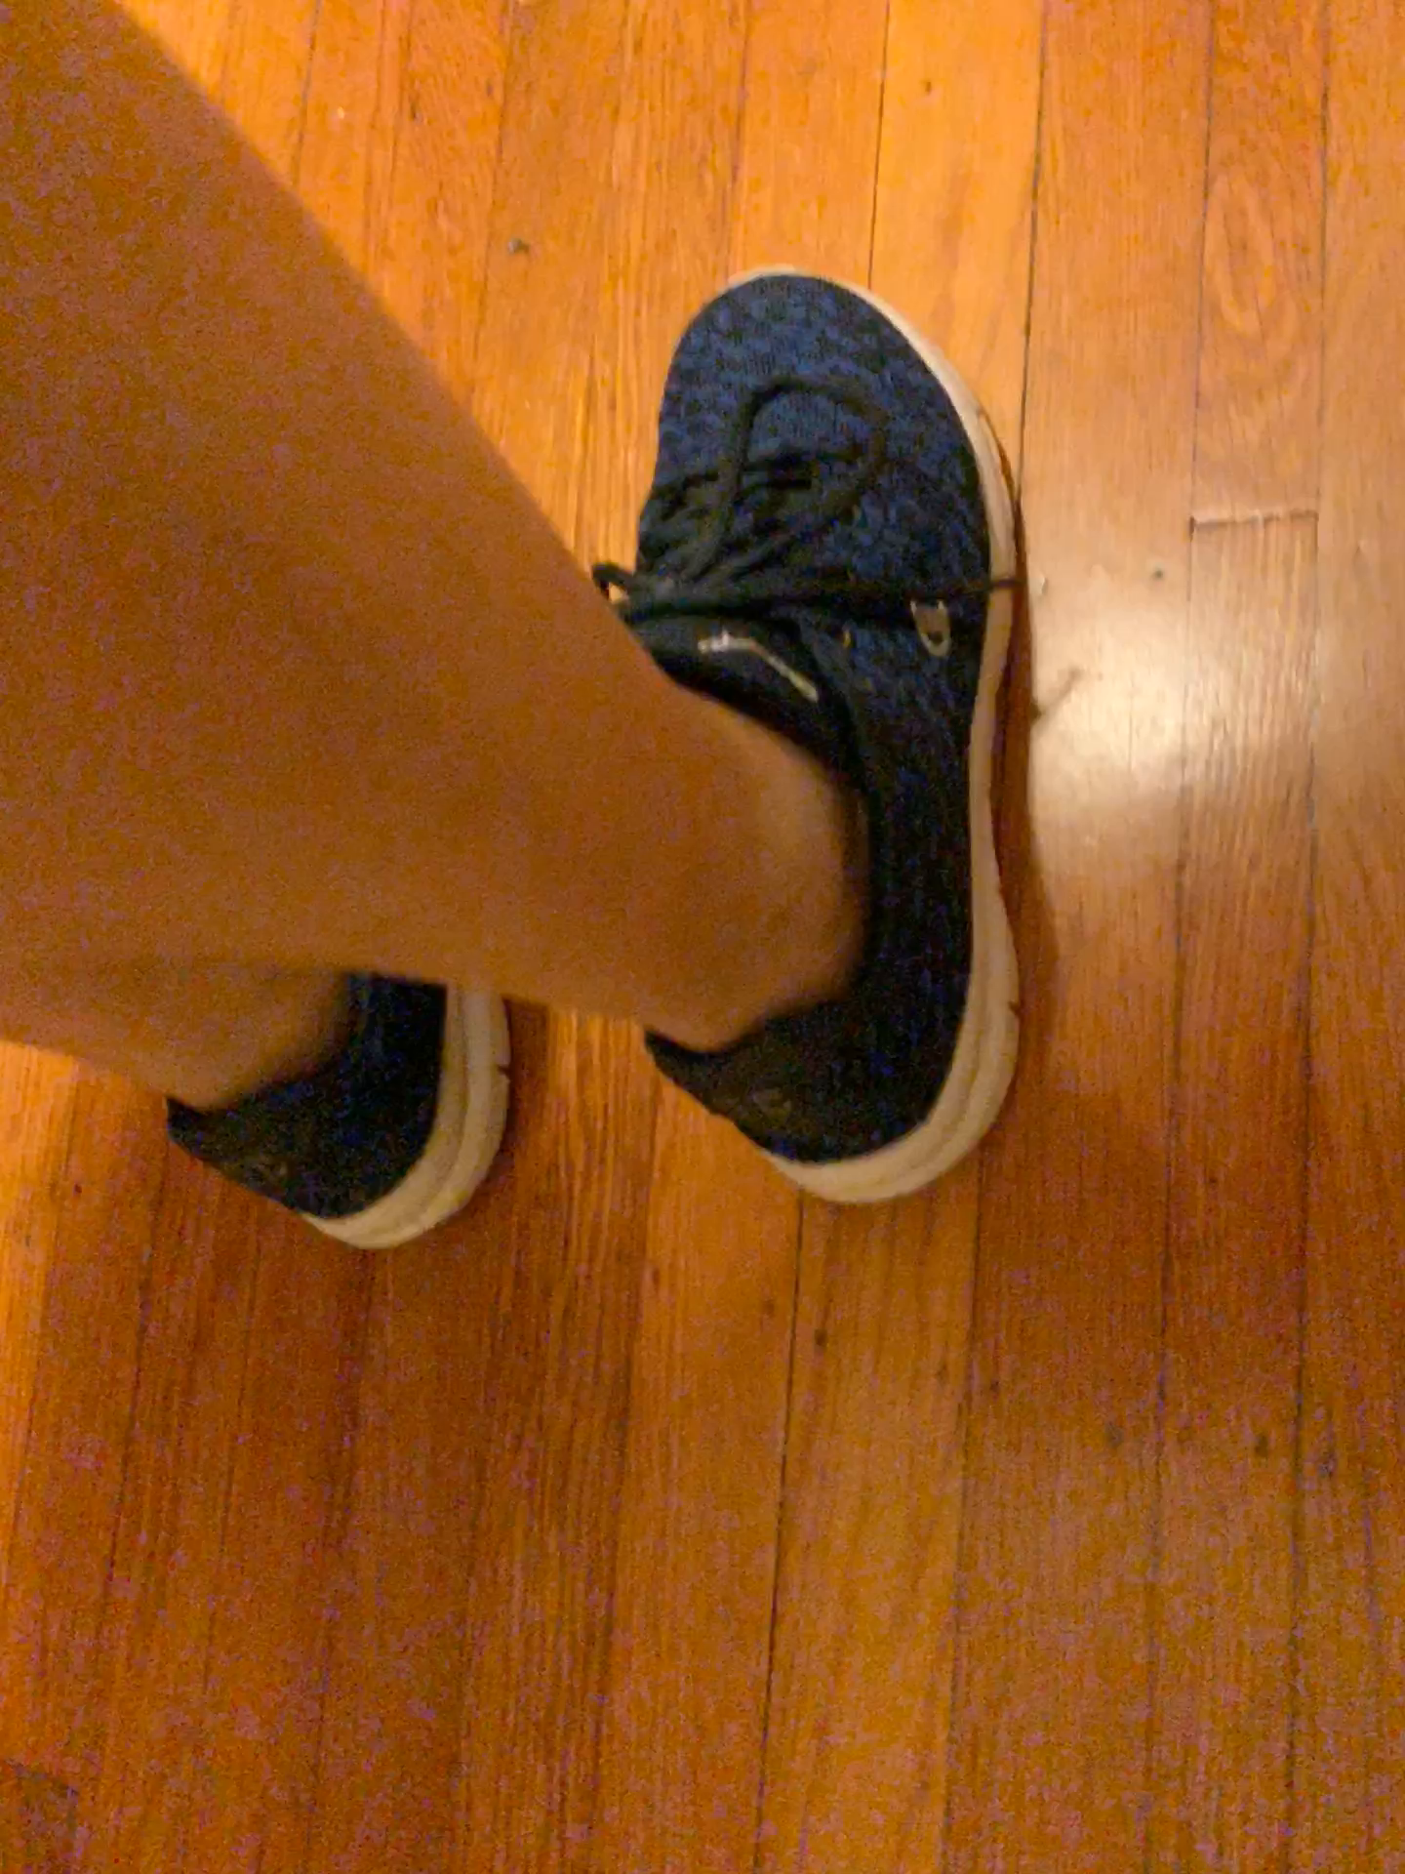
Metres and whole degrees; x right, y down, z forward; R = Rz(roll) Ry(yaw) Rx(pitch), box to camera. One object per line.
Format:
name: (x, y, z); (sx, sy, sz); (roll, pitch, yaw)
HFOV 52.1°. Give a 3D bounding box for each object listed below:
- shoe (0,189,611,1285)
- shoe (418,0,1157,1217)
shoe: (-0.125, -0.045, 0.457); (0.116, 0.149, 0.290); (-11, 75, 25)
shoe: (0.021, -0.076, 0.376); (0.118, 0.129, 0.280); (-13, 74, 25)
